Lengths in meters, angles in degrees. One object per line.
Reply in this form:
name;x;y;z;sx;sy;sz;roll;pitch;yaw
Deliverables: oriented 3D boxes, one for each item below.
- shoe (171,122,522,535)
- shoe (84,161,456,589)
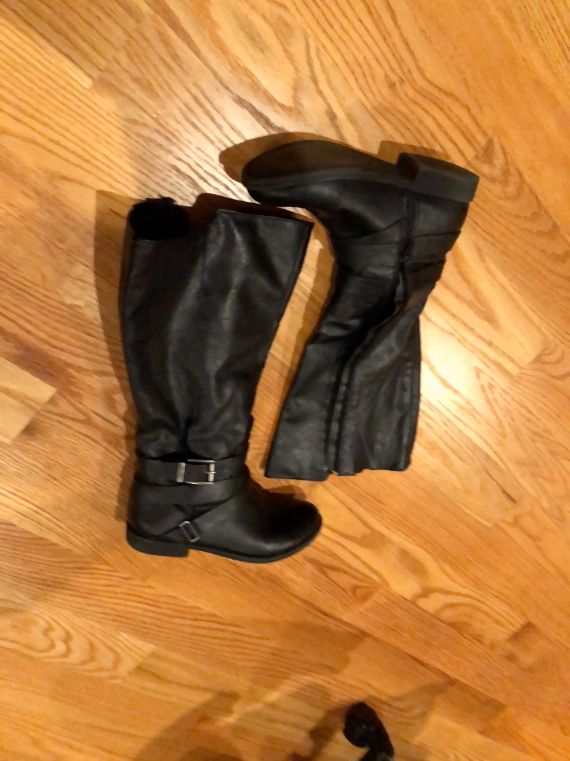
shoe;0.044;-0.028;0.650;0.251;0.094;0.393;5;115;-22
shoe;-0.038;0.018;0.646;0.291;0.104;0.403;4;117;-21
